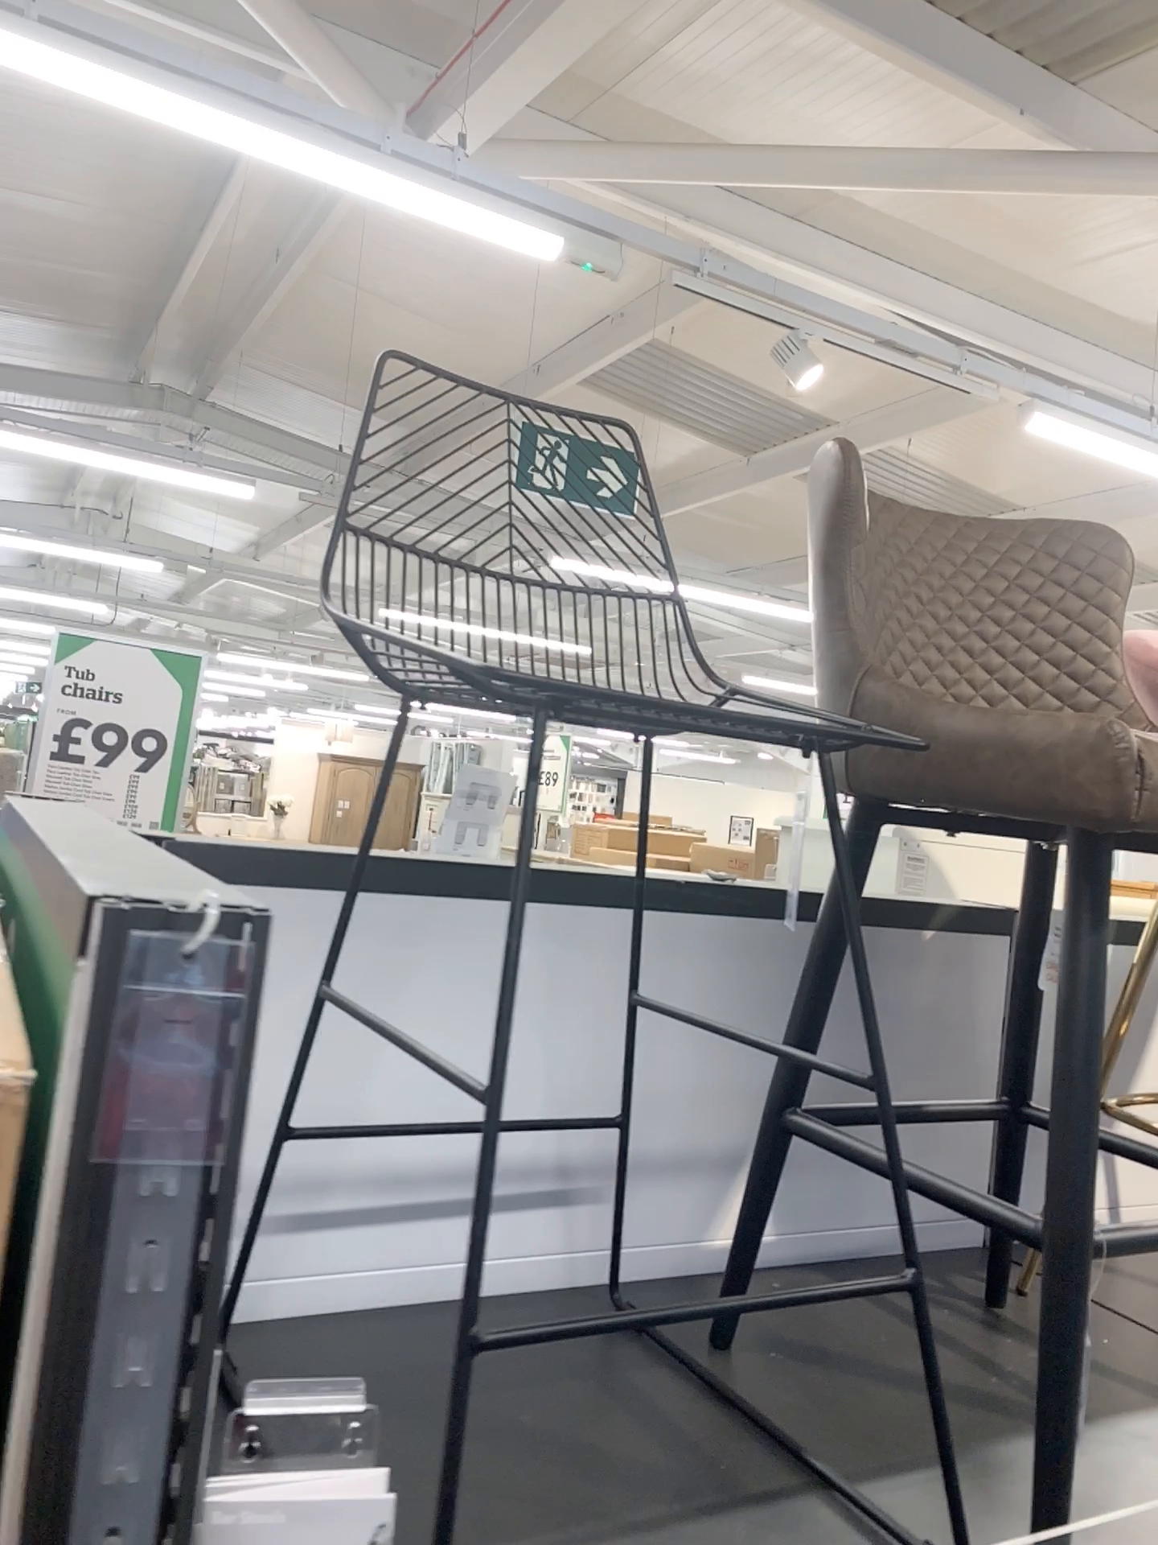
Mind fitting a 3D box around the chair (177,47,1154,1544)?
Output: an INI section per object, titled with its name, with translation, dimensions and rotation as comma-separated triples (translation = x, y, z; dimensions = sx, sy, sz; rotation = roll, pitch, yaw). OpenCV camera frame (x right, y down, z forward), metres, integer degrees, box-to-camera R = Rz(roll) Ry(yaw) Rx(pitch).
[chair]
translation = 0.036, 0.083, 1.007
dimensions = 0.508, 0.969, 0.528
rotation = 8, -2, -29
